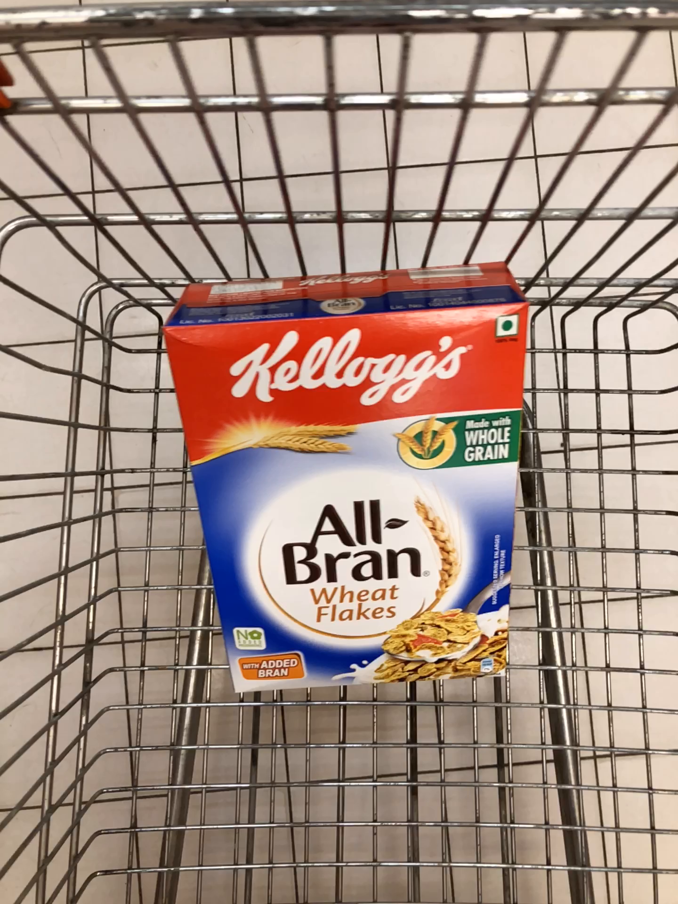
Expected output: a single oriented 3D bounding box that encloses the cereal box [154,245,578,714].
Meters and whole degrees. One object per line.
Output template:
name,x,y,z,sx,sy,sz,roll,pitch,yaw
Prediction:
cereal box,0.018,0.029,0.442,0.190,0.080,0.270,-3,123,0
